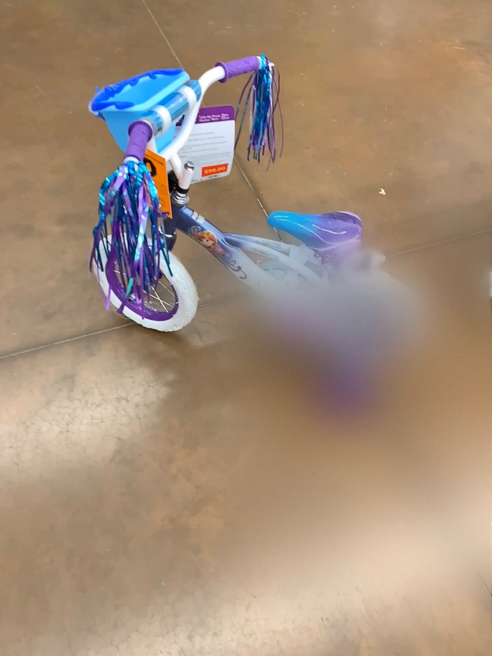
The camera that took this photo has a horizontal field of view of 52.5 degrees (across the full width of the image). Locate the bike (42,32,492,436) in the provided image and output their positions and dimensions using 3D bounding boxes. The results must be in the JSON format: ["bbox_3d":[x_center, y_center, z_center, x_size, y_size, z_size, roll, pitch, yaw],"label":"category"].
[{"bbox_3d":[0.094,-0.148,1.050,0.651,0.643,0.474,6,54,1],"label":"bike"}]
